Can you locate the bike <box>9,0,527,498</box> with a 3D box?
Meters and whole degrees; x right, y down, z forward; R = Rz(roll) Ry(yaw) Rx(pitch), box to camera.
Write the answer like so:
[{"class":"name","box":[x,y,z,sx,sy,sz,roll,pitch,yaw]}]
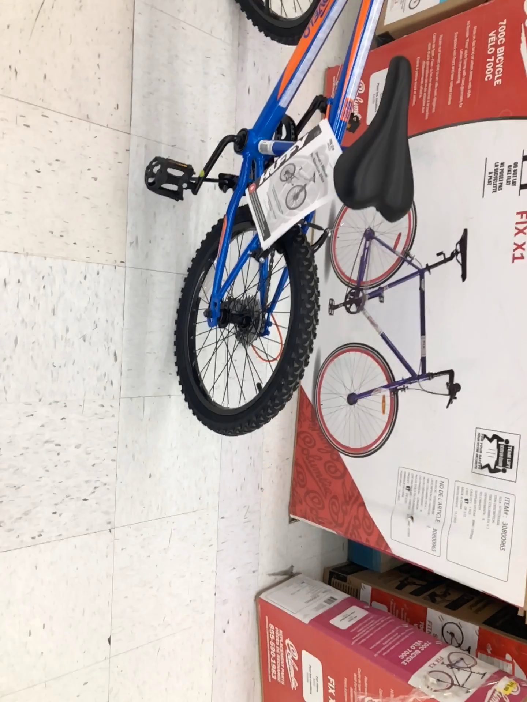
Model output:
[{"class":"bike","box":[-0.029,-0.503,1.139,0.587,0.870,1.314,0,88,-42]}]
